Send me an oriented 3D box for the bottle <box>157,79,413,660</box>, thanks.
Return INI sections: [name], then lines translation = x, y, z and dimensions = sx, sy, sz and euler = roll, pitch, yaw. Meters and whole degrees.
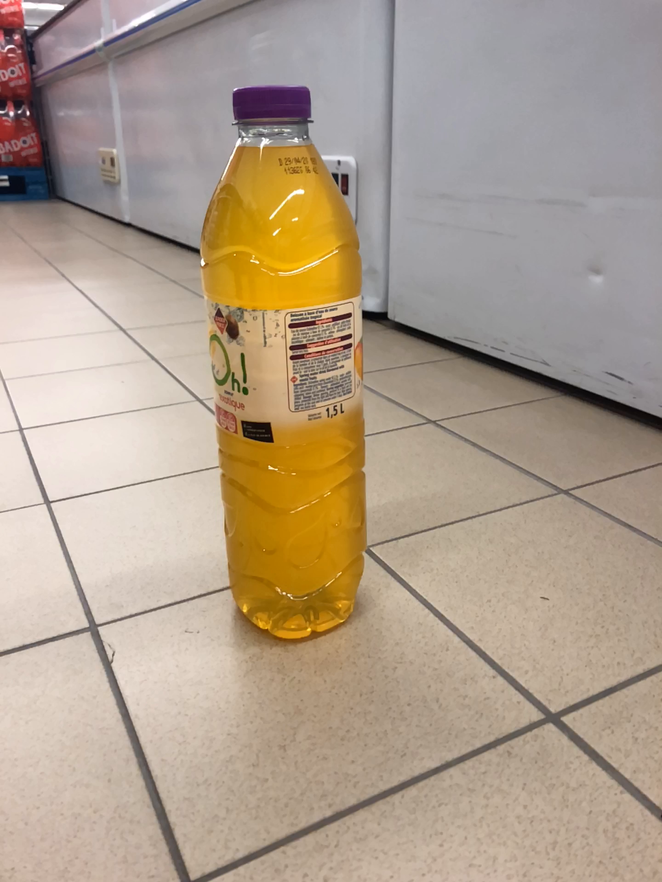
[bottle]
translation = -0.025, -0.039, 0.424
dimensions = 0.090, 0.299, 0.100
euler = -15, 26, -34
